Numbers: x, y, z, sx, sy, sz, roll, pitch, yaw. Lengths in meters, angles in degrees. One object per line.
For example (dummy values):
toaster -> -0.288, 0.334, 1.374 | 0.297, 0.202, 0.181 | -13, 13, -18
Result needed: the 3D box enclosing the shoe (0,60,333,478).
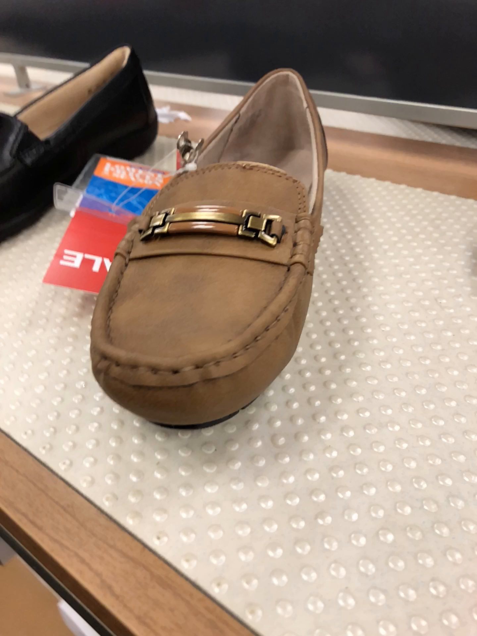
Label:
shoe -> -0.004, -0.053, 0.245 | 0.087, 0.079, 0.236 | 3, 35, 9
